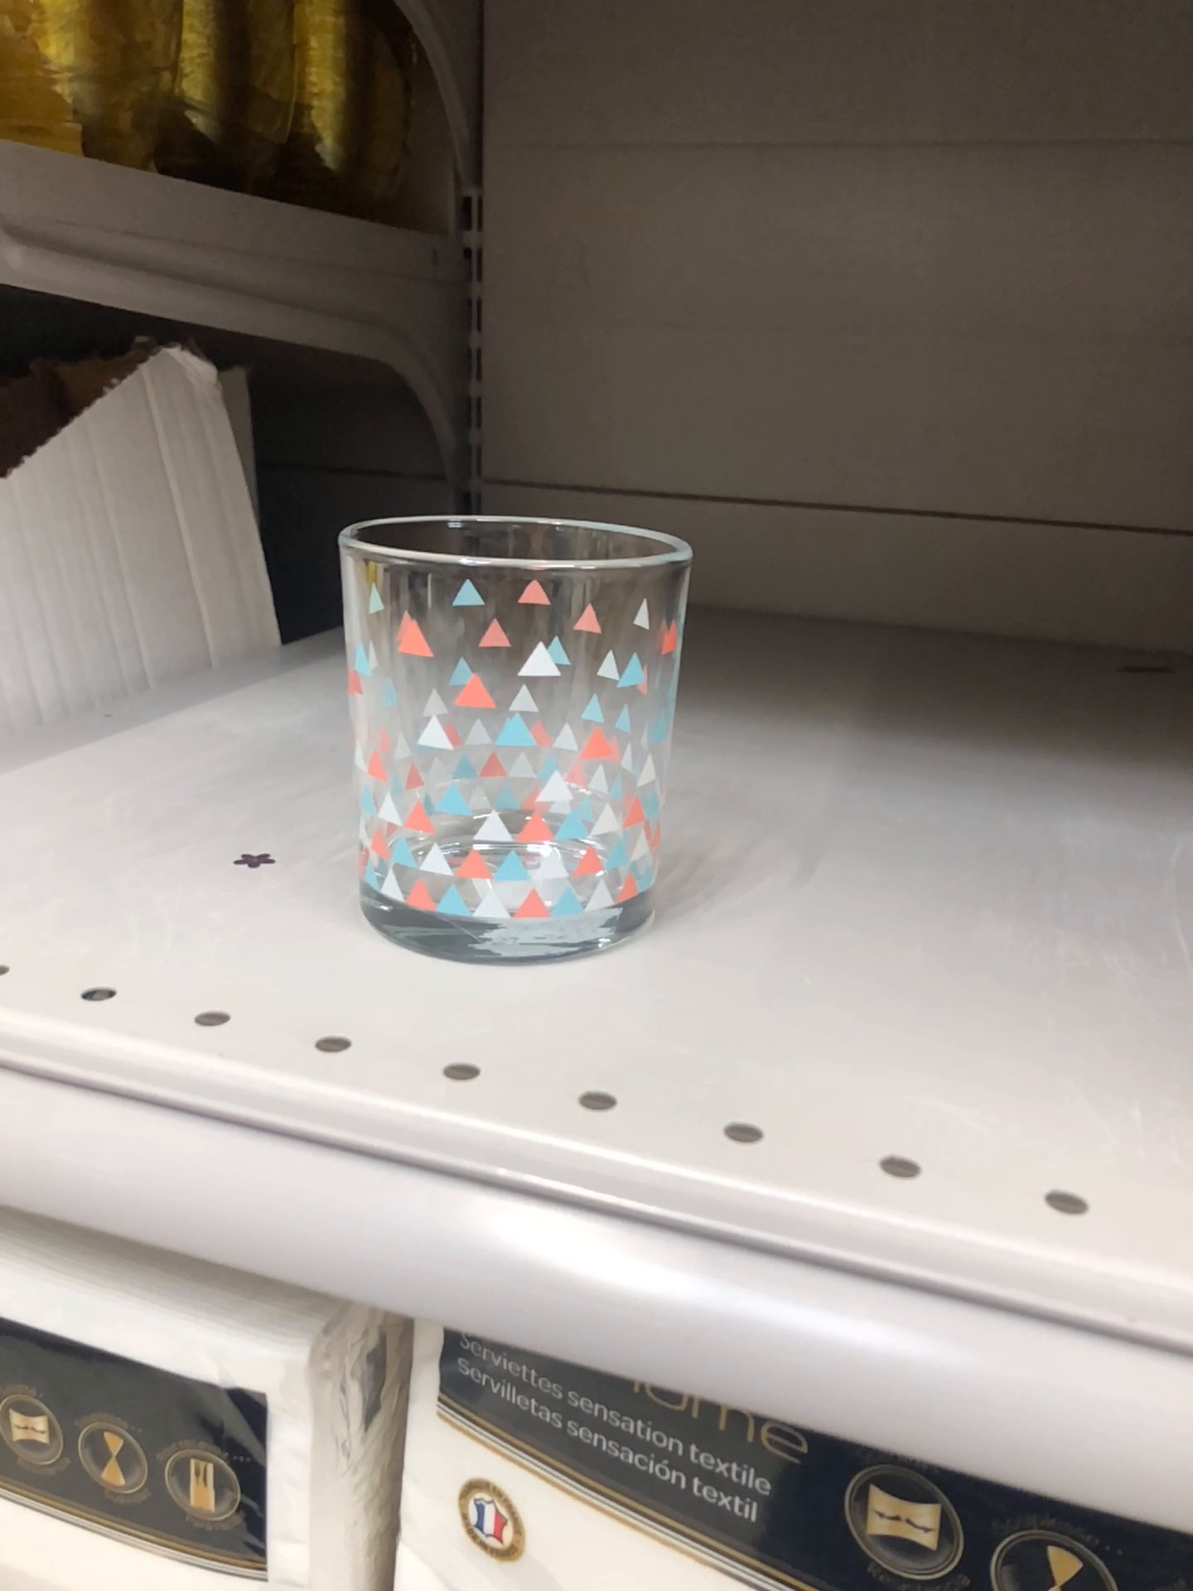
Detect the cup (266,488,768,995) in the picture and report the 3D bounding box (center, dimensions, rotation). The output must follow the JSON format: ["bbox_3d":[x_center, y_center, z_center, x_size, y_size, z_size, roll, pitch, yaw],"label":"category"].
[{"bbox_3d":[-0.014,-0.018,0.278,0.076,0.081,0.077,2,18,-1],"label":"cup"}]
